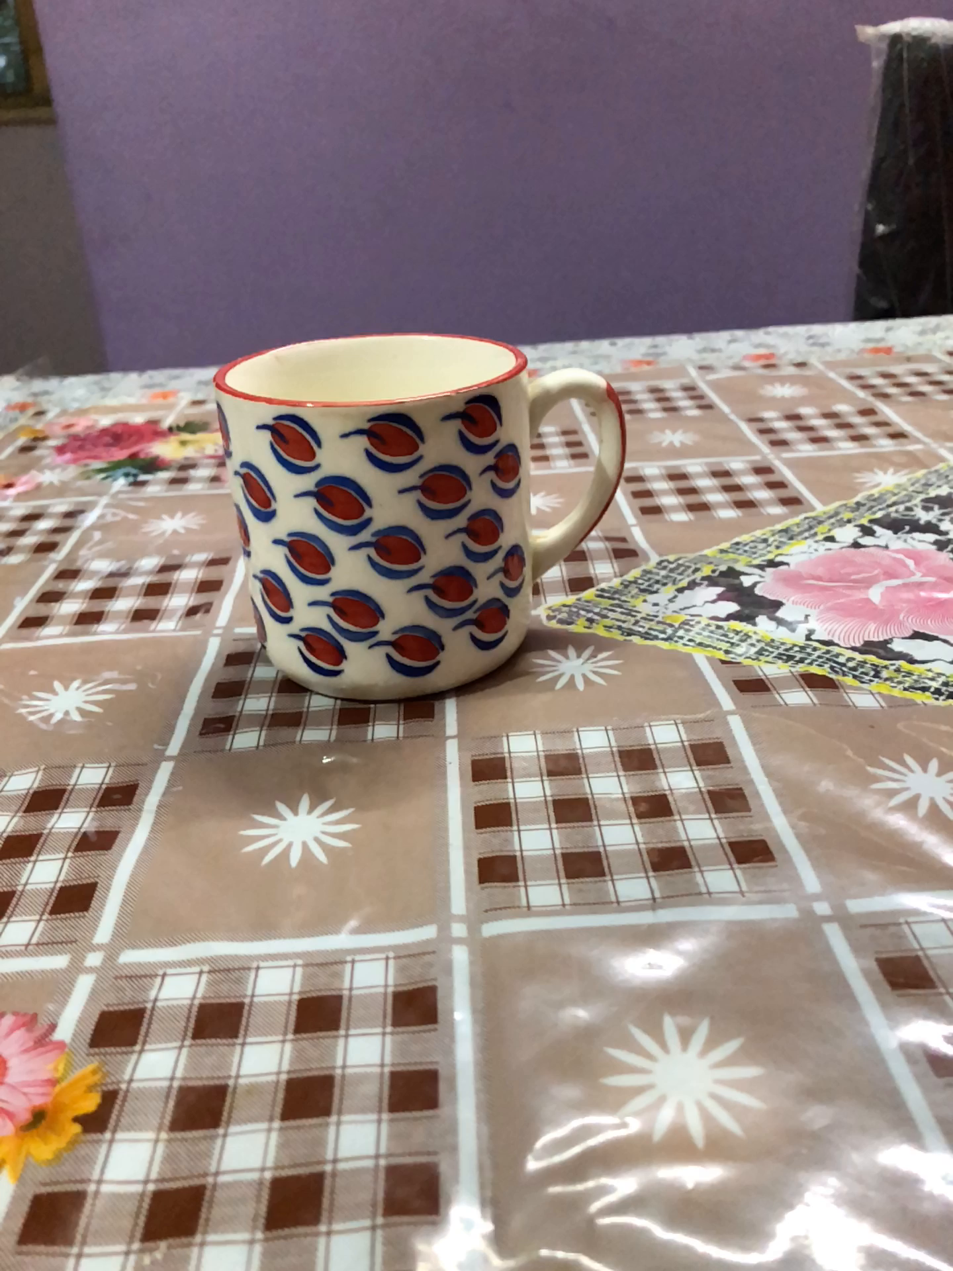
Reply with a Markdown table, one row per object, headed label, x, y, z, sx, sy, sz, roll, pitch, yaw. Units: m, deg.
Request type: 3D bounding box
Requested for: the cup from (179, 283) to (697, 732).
| label | x | y | z | sx | sy | sz | roll | pitch | yaw |
| --- | --- | --- | --- | --- | --- | --- | --- | --- | --- |
| cup | -0.013 | -0.039 | 0.274 | 0.110 | 0.080 | 0.080 | -9 | 27 | -13 |
